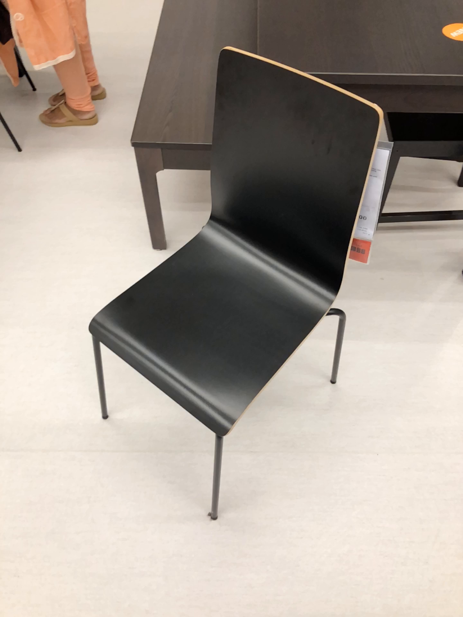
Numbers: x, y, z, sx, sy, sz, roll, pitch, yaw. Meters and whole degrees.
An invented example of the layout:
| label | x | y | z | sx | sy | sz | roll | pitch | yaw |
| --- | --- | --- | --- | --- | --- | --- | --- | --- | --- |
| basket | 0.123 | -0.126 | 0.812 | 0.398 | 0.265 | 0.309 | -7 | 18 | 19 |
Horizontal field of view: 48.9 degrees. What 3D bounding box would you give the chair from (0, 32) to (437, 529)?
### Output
| label | x | y | z | sx | sy | sz | roll | pitch | yaw |
| --- | --- | --- | --- | --- | --- | --- | --- | --- | --- |
| chair | -0.028 | 0.000 | 1.076 | 0.451 | 0.806 | 0.531 | 35 | 61 | 22 |
